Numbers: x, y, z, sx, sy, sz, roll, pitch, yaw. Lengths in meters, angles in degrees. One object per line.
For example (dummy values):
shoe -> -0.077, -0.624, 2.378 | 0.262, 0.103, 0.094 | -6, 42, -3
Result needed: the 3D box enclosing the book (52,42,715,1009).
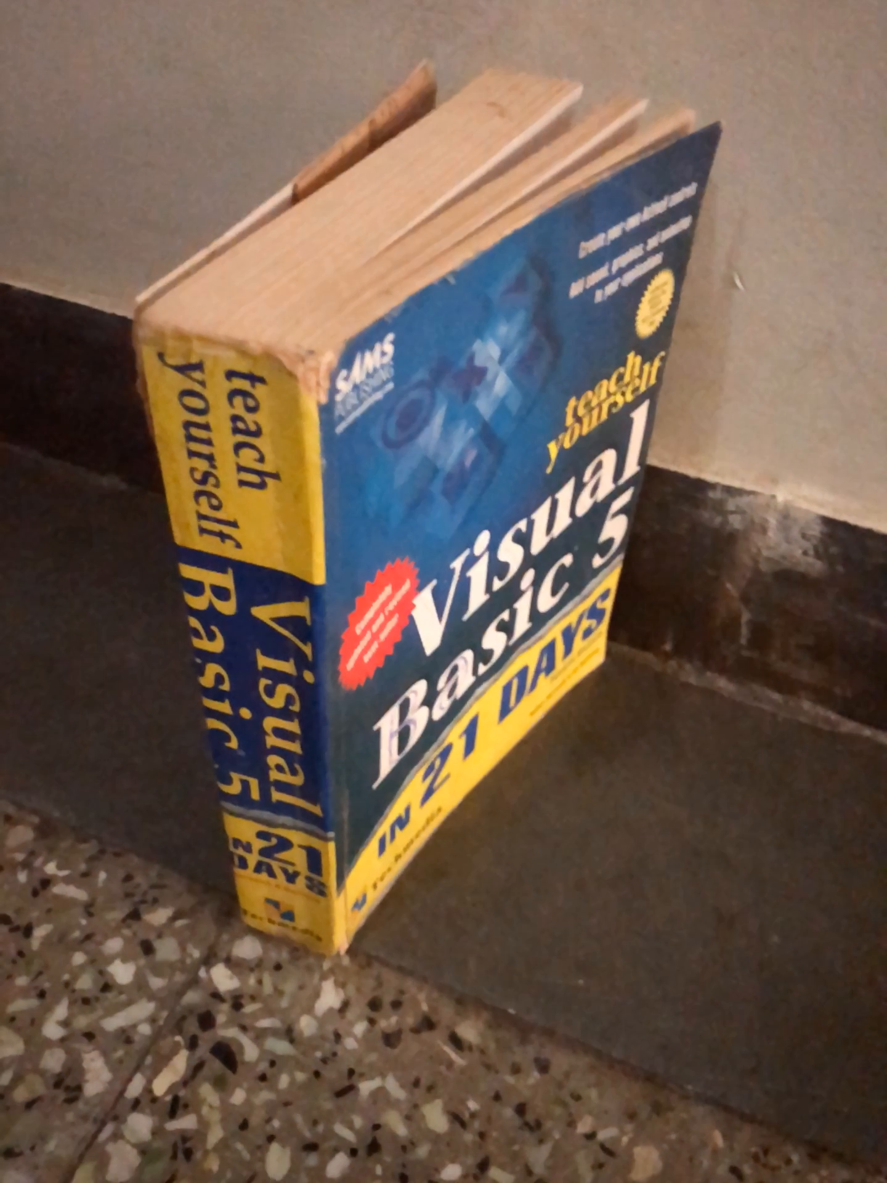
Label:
book -> 0.008, -0.032, 0.343 | 0.060, 0.229, 0.251 | 19, 44, 21
